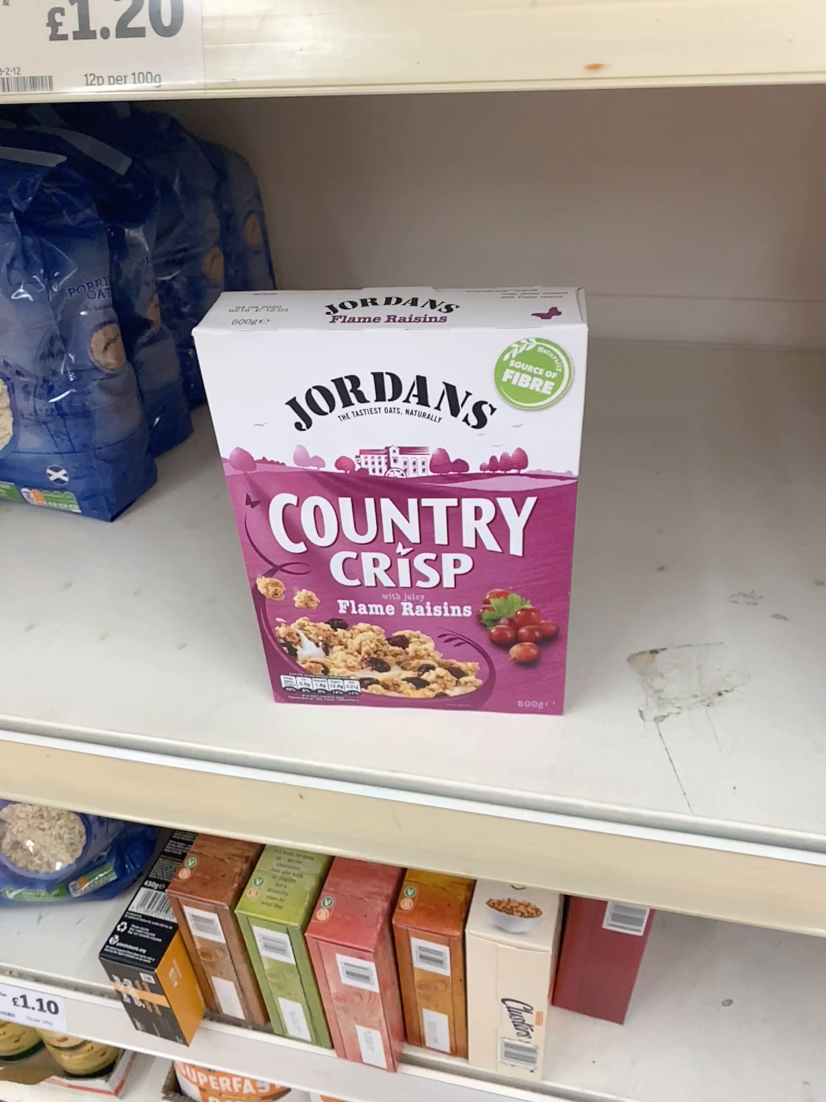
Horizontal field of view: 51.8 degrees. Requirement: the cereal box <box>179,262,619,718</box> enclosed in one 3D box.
[{"bbox_3d":[0.000,-0.020,0.456,0.190,0.248,0.050,1,36,7],"label":"cereal box"}]
